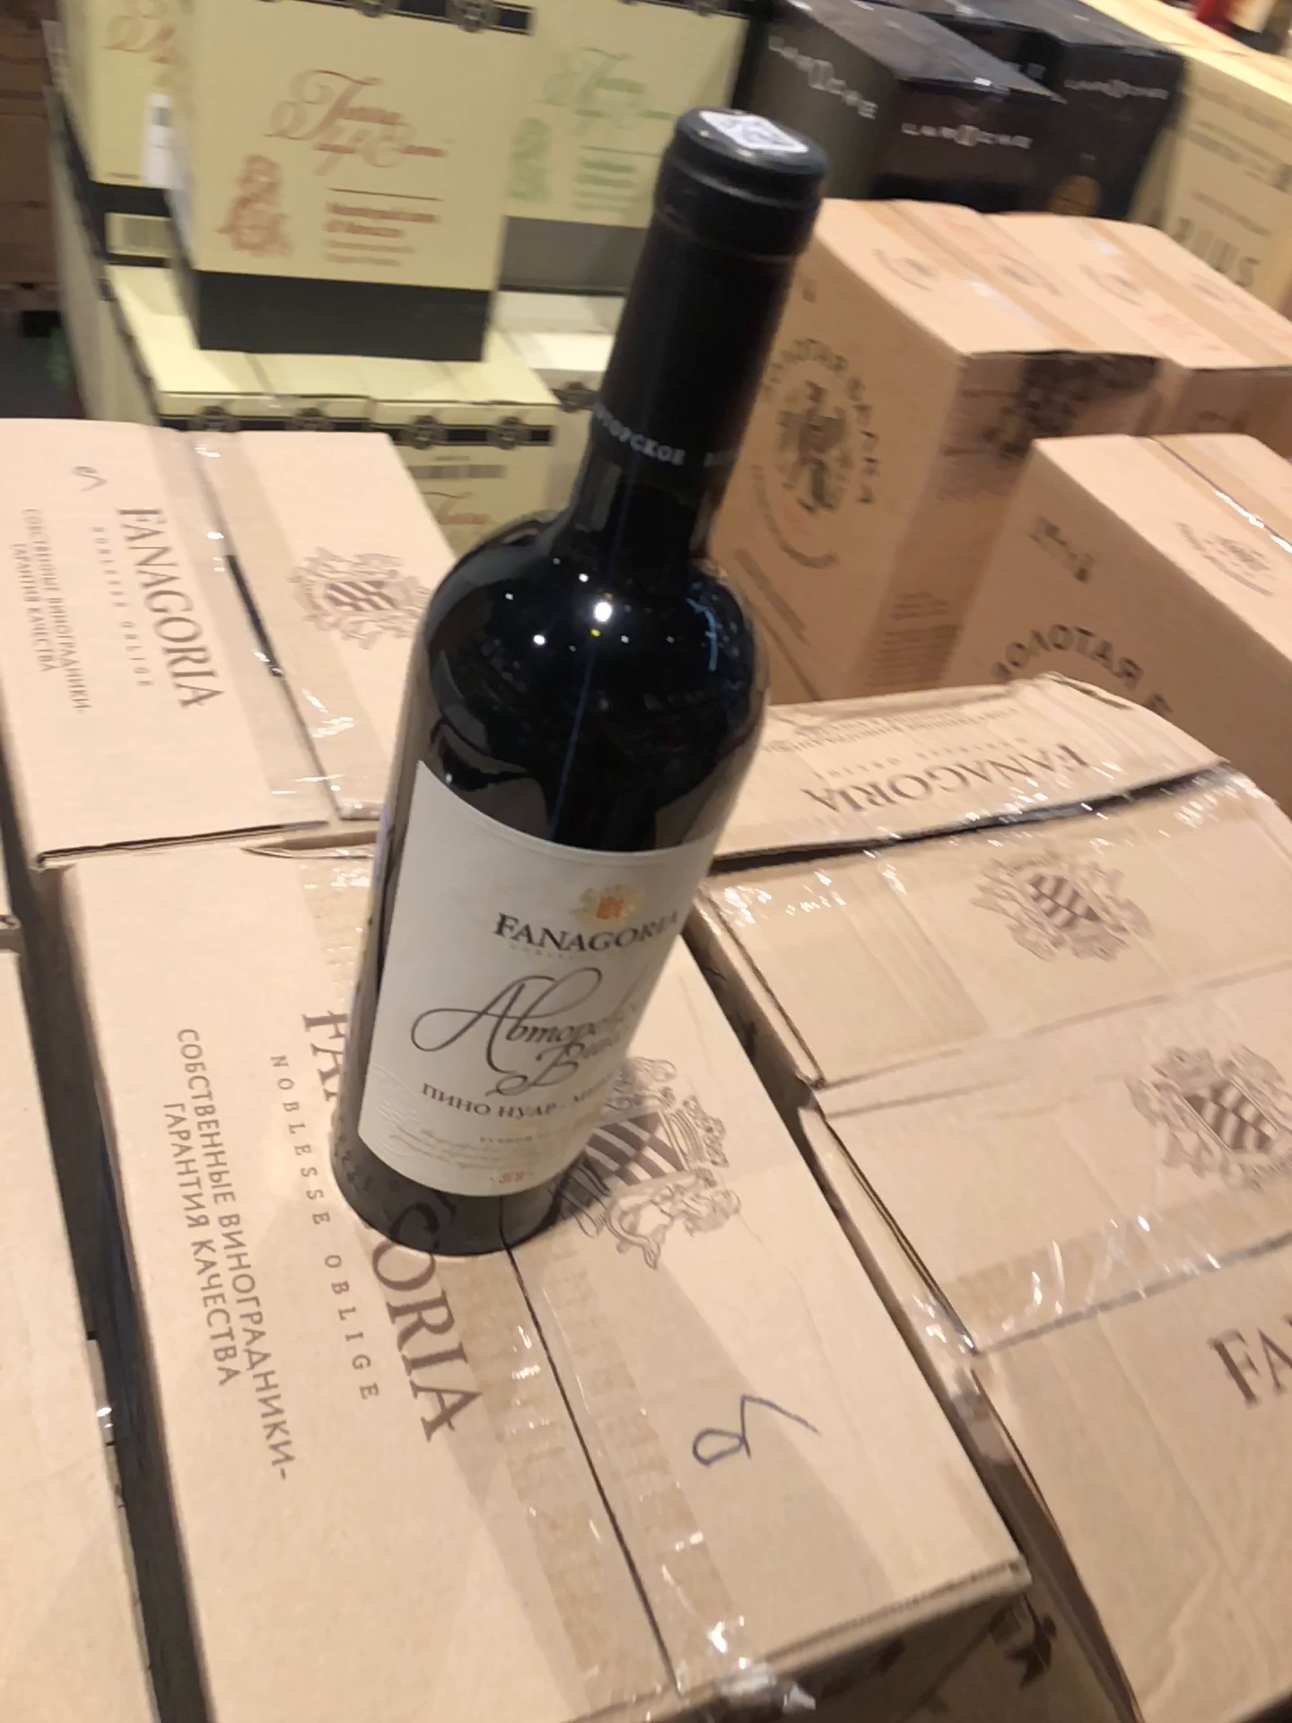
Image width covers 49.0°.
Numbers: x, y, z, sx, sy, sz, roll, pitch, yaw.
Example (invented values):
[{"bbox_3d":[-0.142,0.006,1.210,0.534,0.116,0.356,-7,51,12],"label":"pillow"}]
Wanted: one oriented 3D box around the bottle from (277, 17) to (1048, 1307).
[{"bbox_3d":[-0.026,-0.018,0.356,0.100,0.308,0.090,-2,44,-22],"label":"bottle"}]
